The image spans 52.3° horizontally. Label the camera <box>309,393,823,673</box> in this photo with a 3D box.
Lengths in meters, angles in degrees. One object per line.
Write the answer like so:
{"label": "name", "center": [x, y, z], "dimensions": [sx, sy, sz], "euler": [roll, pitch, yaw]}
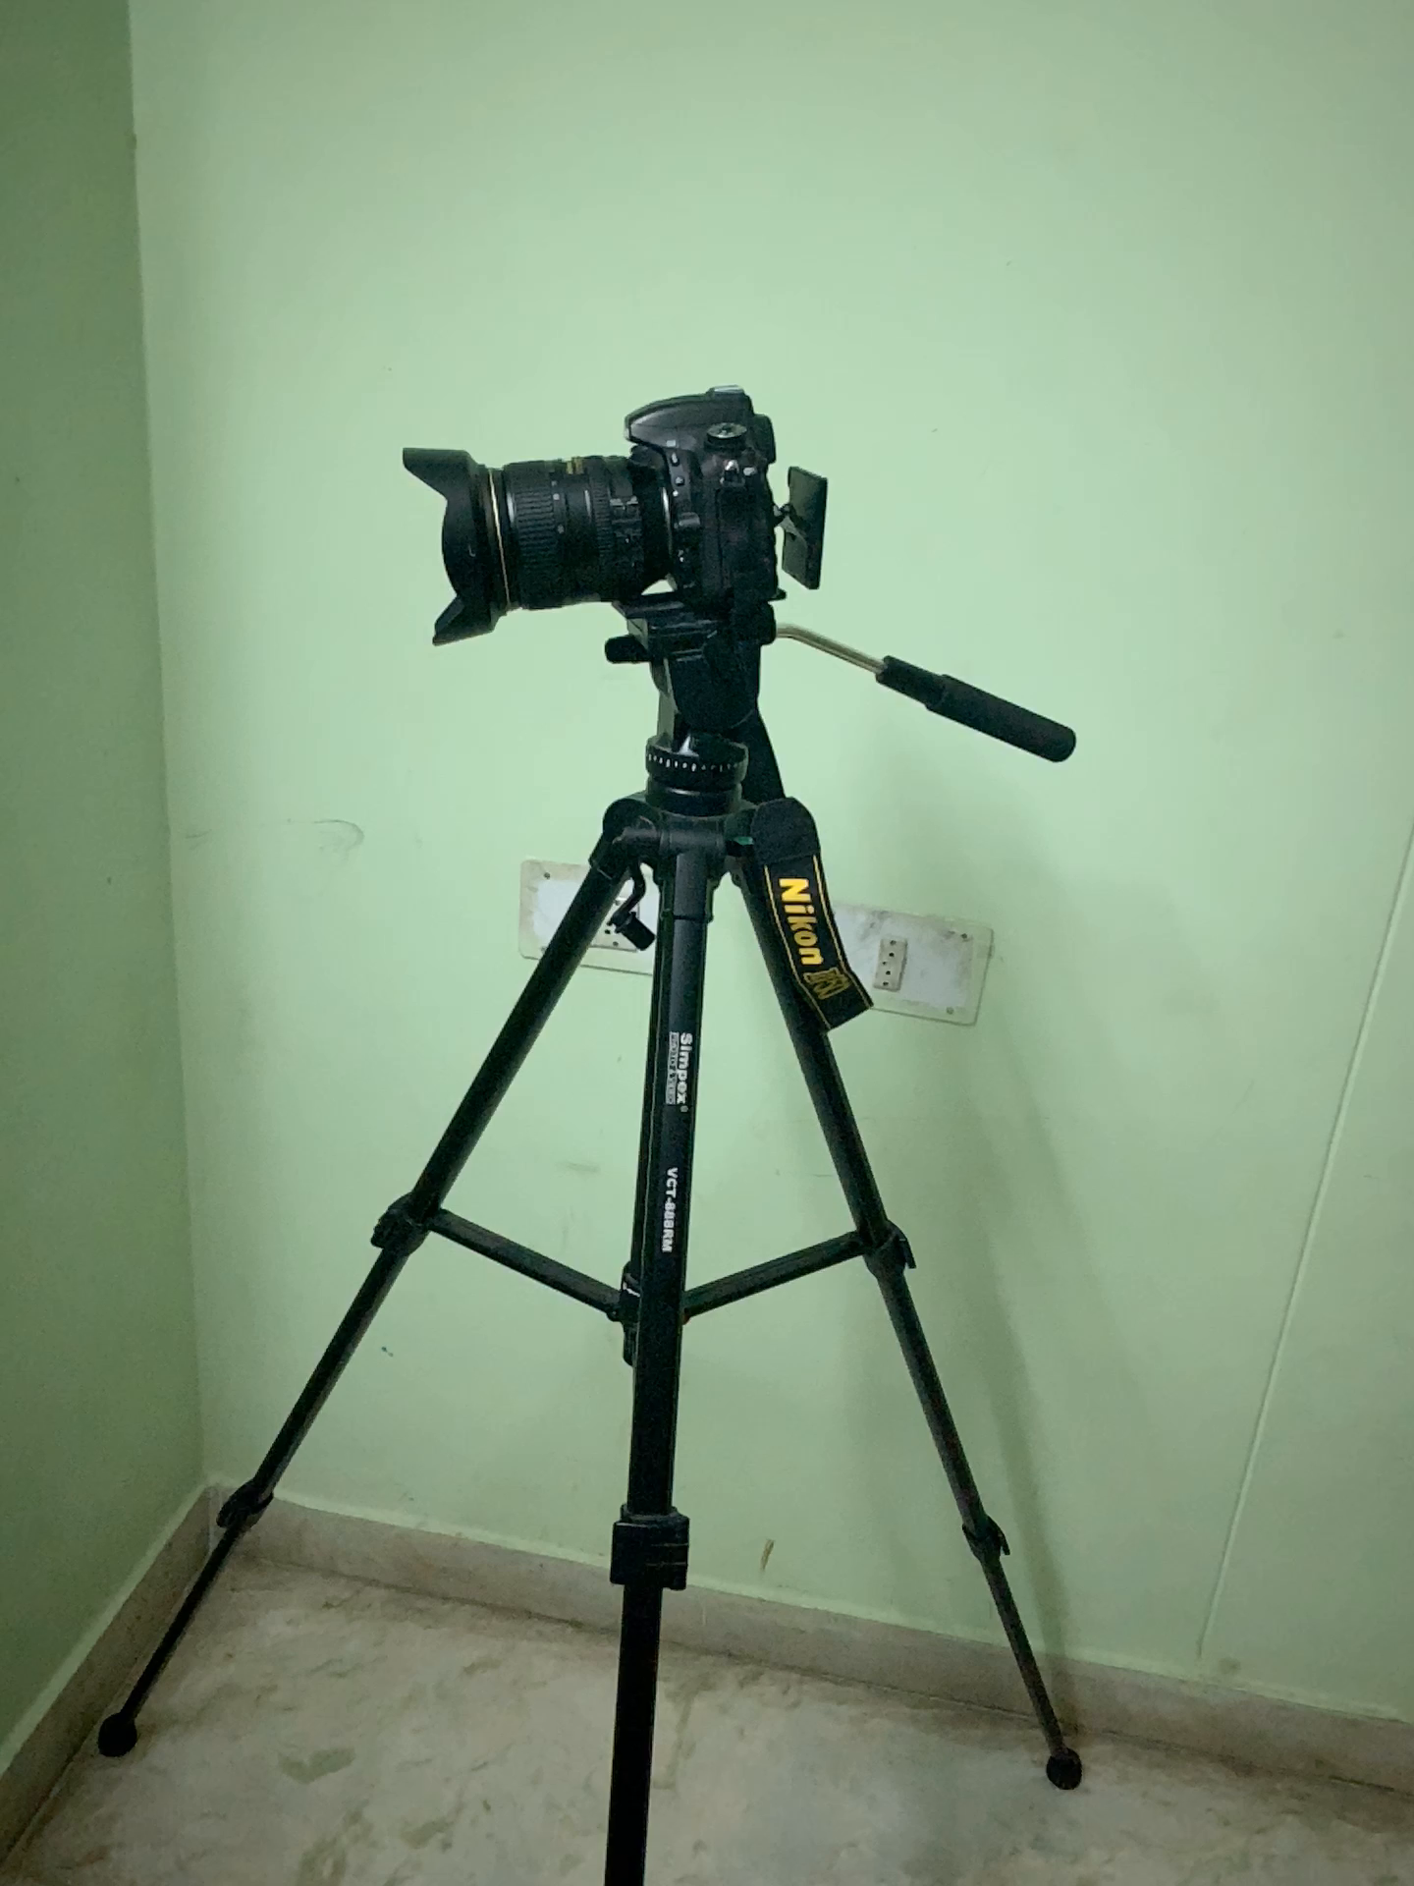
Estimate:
{"label": "camera", "center": [-0.086, -0.256, 0.868], "dimensions": [0.267, 0.127, 0.161], "euler": [-11, 23, -18]}
